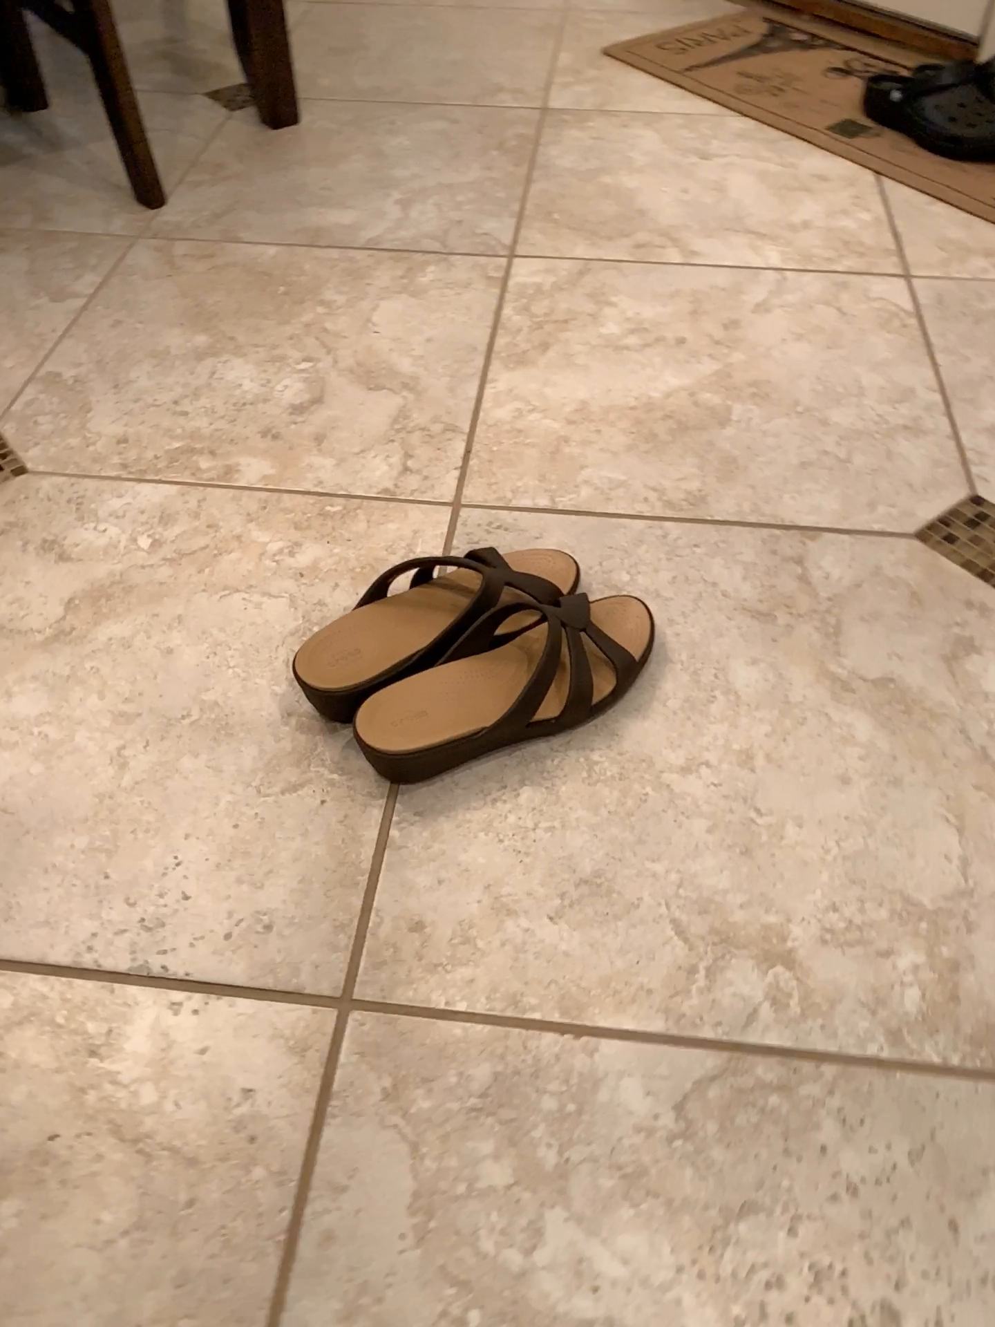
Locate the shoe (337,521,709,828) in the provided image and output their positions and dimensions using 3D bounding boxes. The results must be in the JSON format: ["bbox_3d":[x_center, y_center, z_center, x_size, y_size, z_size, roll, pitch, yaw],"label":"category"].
[{"bbox_3d":[0.022,0.002,0.788,0.259,0.092,0.110,-26,53,-22],"label":"shoe"}]

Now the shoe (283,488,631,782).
[{"bbox_3d":[-0.028,-0.031,0.844,0.264,0.092,0.110,-30,54,-25],"label":"shoe"}]
